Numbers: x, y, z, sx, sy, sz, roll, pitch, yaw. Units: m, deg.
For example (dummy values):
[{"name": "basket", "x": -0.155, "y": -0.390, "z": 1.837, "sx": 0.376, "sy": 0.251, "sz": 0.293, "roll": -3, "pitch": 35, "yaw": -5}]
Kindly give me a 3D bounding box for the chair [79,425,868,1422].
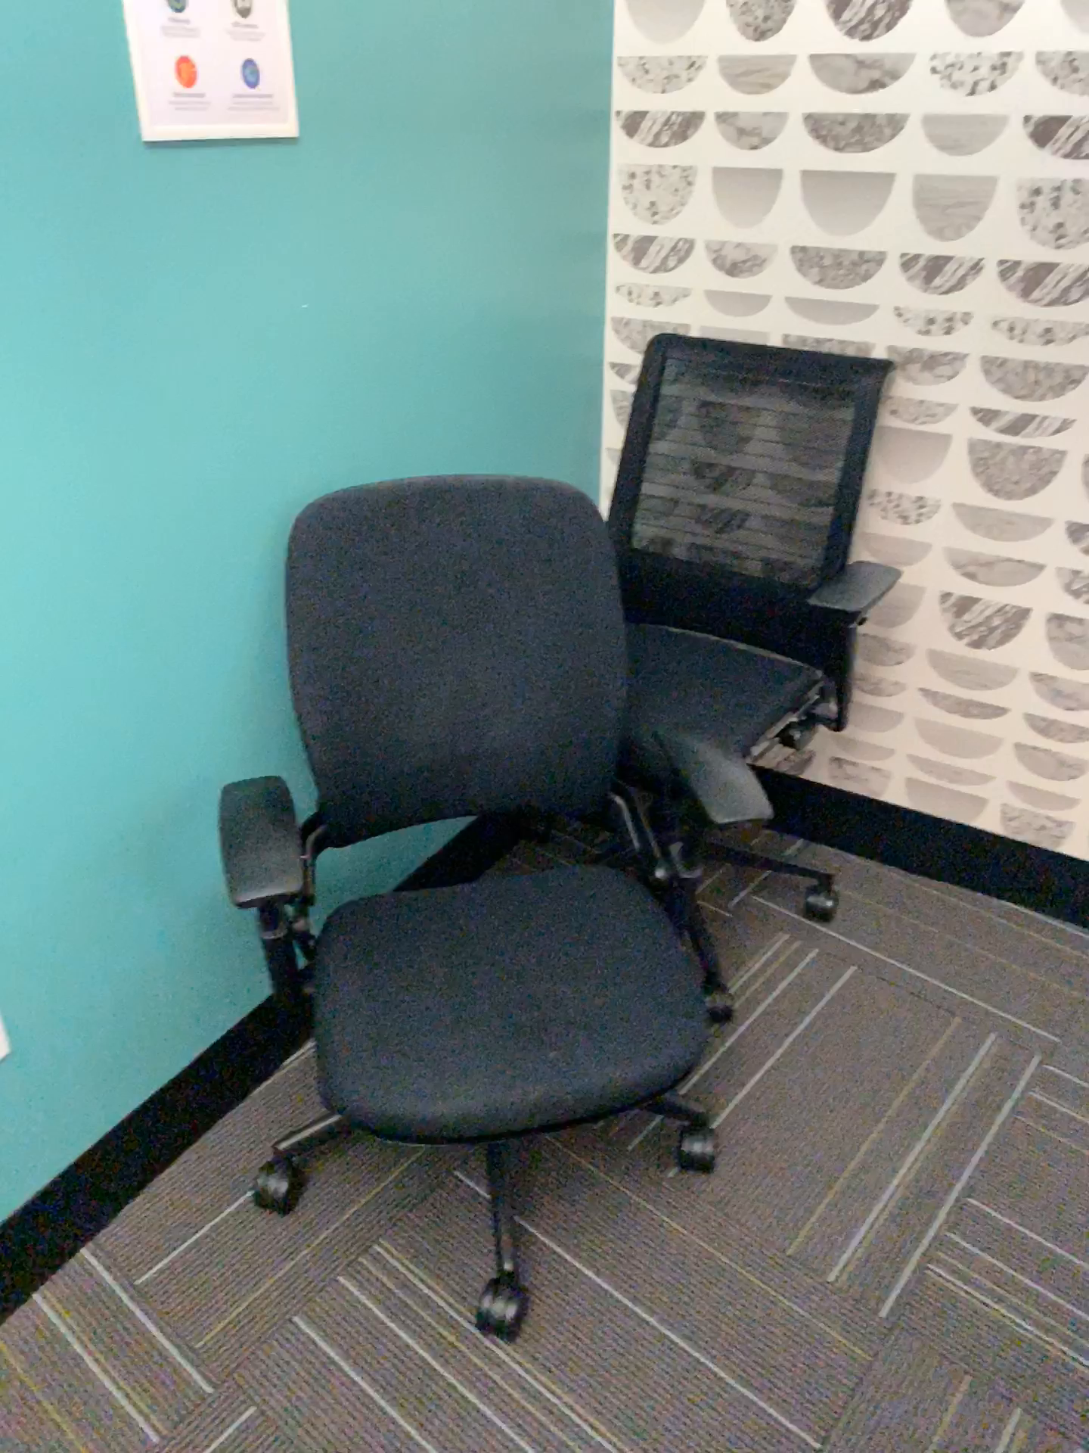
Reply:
[{"name": "chair", "x": -0.119, "y": 0.188, "z": 1.479, "sx": 0.660, "sy": 0.944, "sz": 0.775, "roll": -6, "pitch": 29, "yaw": -11}]
